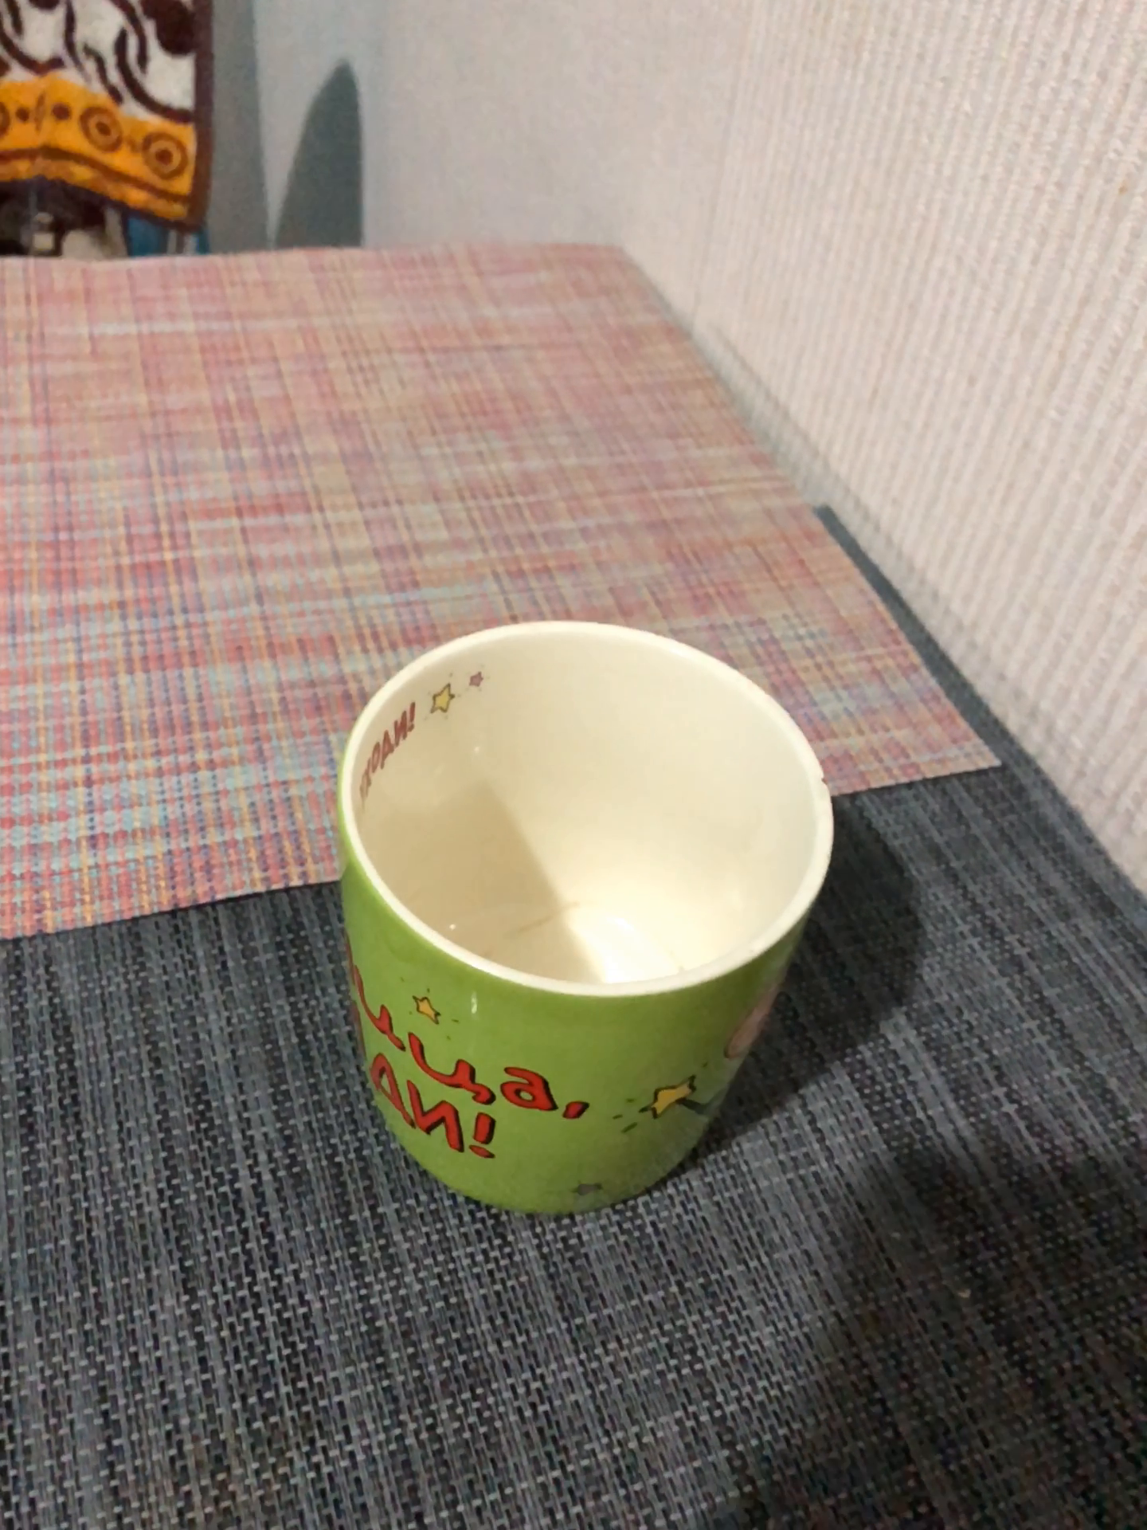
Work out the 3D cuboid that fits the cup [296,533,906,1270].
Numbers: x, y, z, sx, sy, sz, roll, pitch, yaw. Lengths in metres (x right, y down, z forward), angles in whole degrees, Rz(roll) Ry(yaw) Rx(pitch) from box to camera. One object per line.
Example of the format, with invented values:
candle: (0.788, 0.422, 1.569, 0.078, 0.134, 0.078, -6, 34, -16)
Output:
cup: (-0.001, 0.025, 0.255, 0.089, 0.083, 0.116, 3, 45, -6)
